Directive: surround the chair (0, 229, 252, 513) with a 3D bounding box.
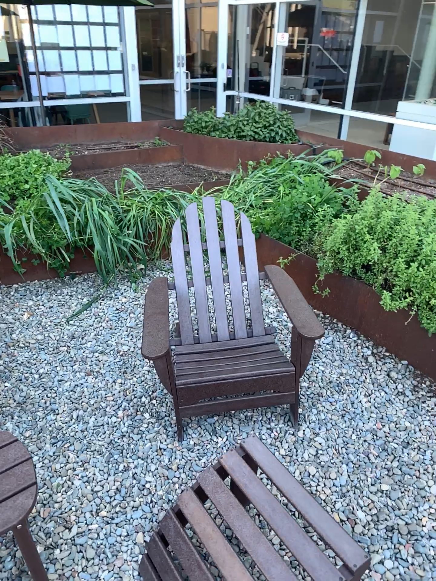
[{"bbox_3d":[-0.354,0.354,2.337,1.000,0.994,1.006,3,29,3],"label":"chair"}]
